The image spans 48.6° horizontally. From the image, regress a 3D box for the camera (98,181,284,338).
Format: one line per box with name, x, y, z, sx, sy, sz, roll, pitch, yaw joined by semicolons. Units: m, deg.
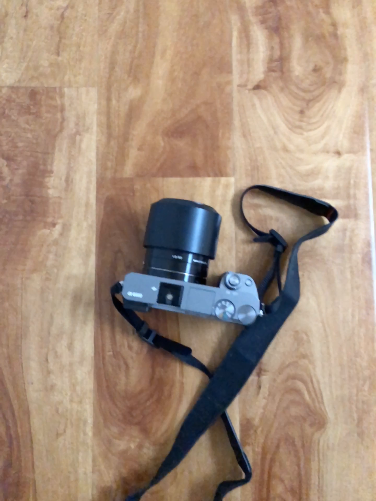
camera;0.003;0.011;0.393;0.140;0.080;0.110;10;83;0
